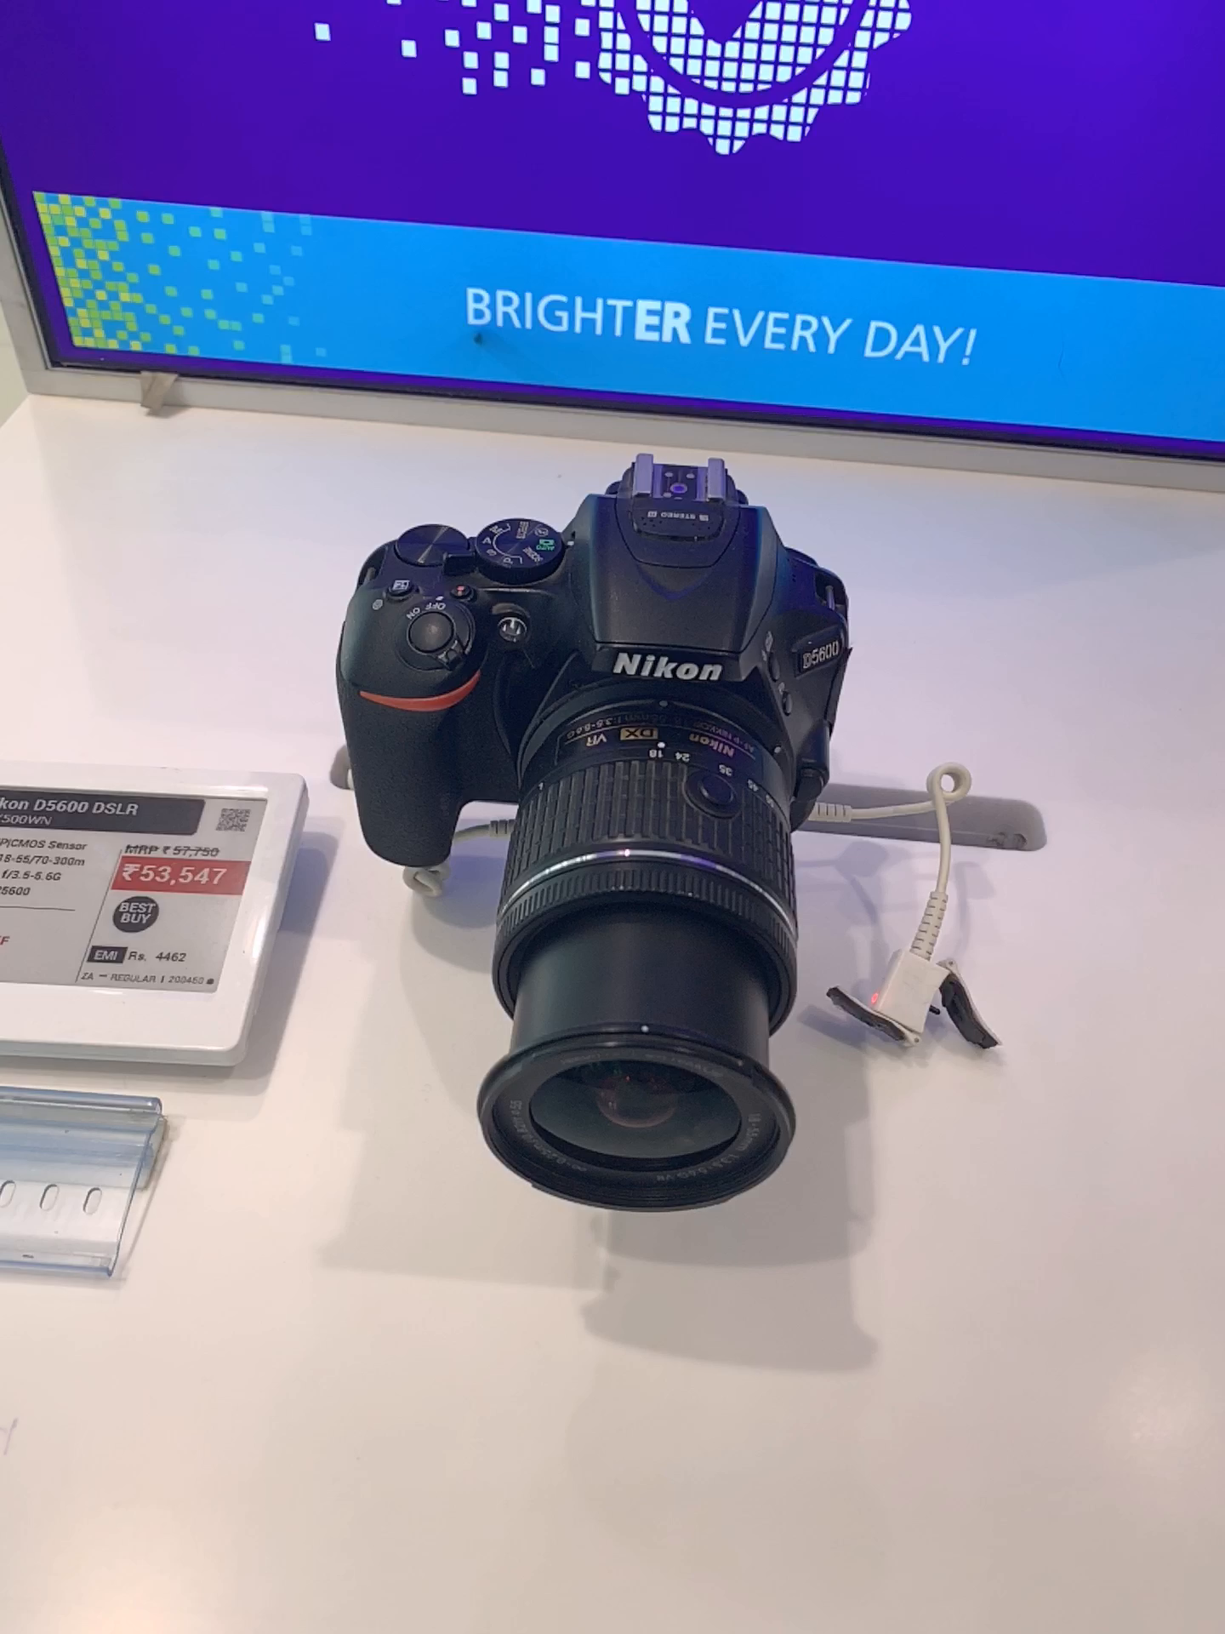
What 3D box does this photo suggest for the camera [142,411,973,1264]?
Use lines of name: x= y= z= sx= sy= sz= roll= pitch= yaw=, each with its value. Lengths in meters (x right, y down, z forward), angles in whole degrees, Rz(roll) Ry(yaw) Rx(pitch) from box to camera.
camera: x=-0.006 y=-0.001 z=0.261 sx=0.116 sy=0.100 sz=0.141 roll=3 pitch=45 yaw=0
